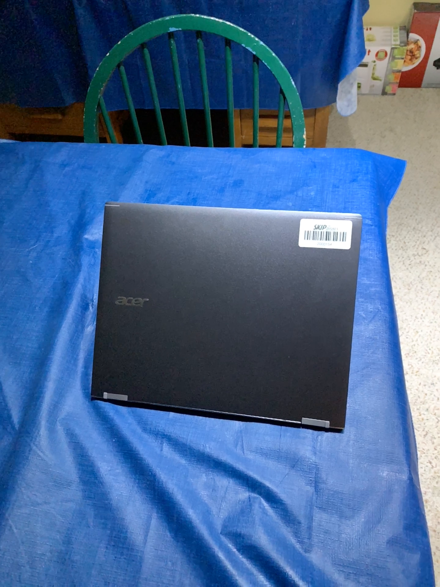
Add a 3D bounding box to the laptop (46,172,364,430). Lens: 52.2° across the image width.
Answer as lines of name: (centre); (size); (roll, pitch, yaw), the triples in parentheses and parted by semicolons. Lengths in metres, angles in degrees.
laptop: (0.005, -0.002, 0.551); (0.303, 0.151, 0.251); (5, 53, 10)
